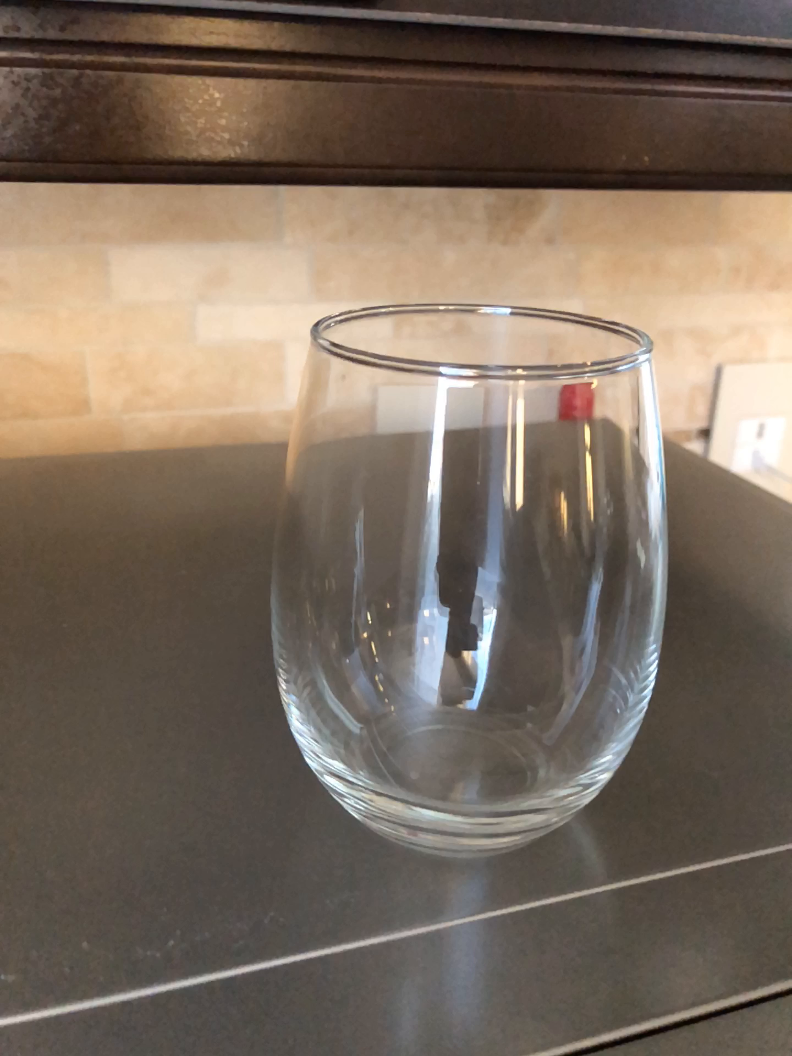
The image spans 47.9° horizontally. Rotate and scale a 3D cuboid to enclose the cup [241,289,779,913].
[{"bbox_3d":[0.016,0.006,0.203,0.078,0.104,0.083,1,22,0],"label":"cup"}]
